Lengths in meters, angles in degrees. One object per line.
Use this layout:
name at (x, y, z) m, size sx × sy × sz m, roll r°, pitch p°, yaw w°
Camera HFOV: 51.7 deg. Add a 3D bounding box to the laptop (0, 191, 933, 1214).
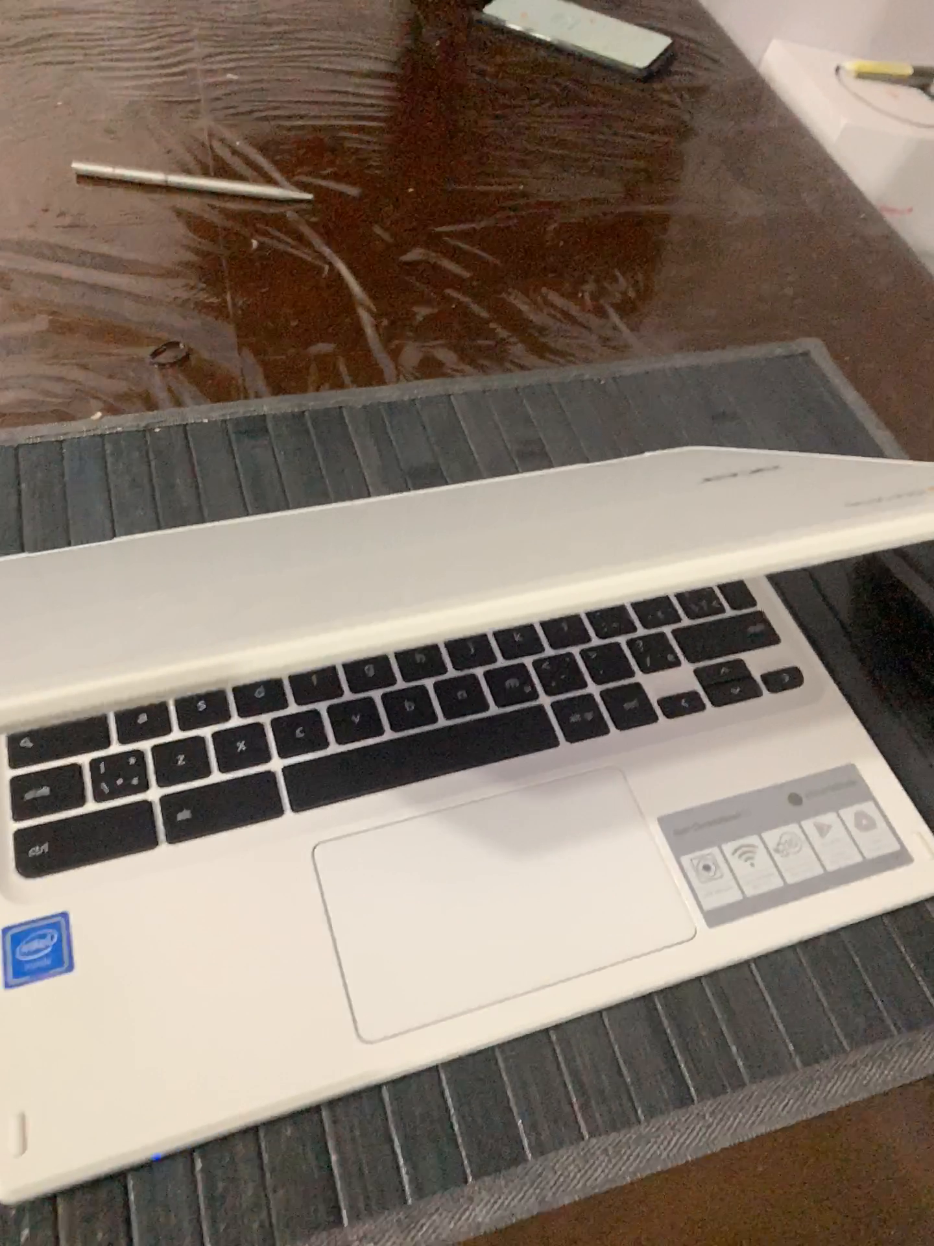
laptop at (0.000, 0.000, 0.262) m, size 0.281 × 0.124 × 0.182 m, roll -12°, pitch 55°, yaw -17°
